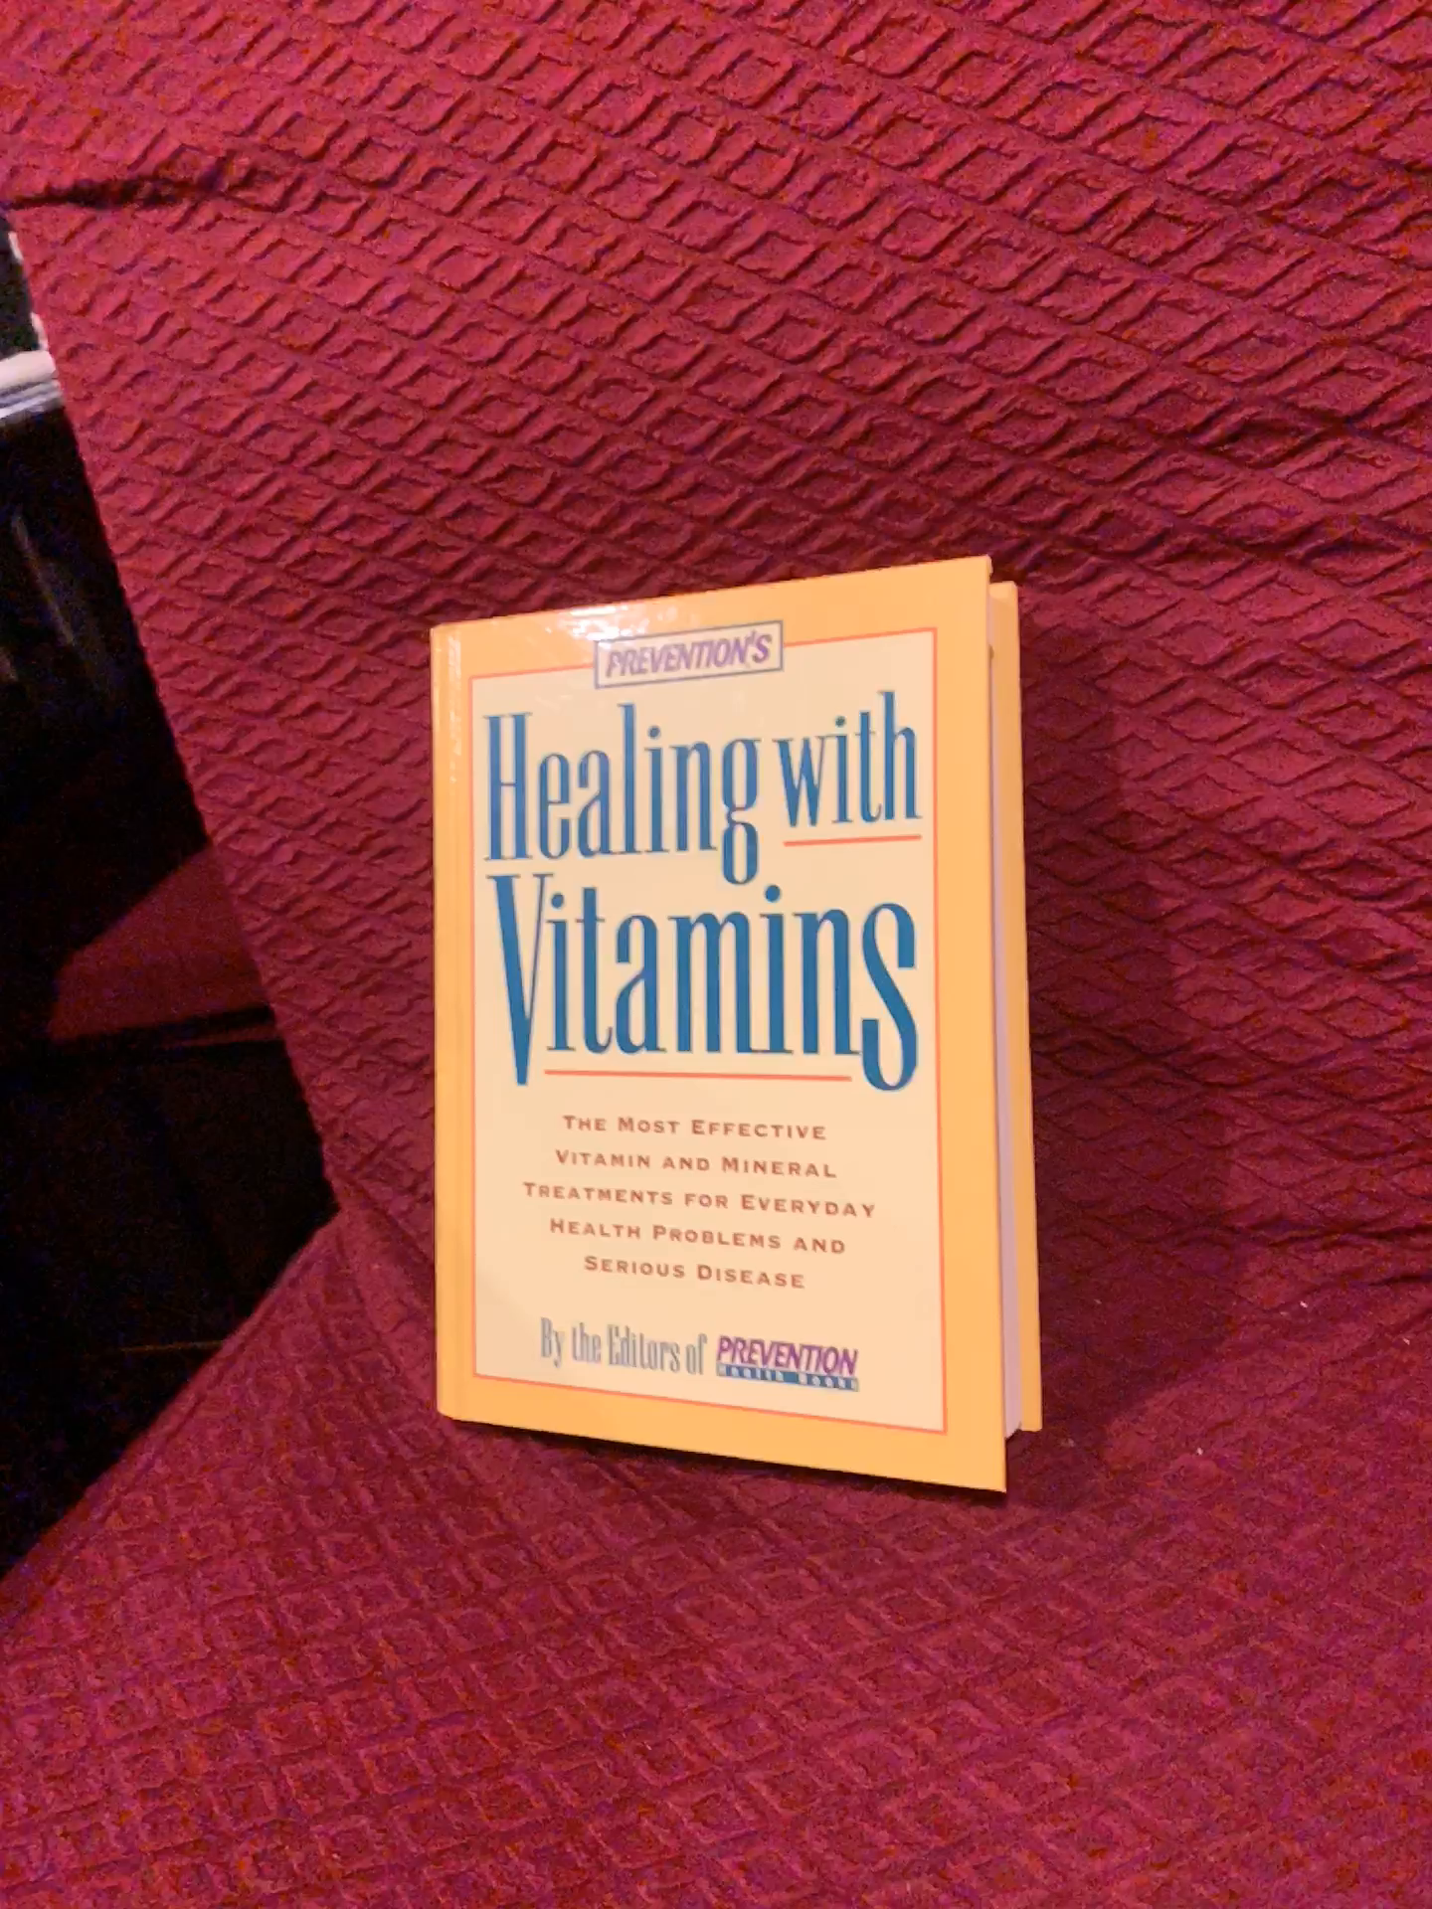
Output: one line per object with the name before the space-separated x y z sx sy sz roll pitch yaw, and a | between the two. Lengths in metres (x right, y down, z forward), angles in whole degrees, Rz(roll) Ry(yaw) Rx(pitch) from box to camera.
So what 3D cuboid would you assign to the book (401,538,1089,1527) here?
book | 0.002 0.020 0.417 0.190 0.240 0.040 -2 -2 25
